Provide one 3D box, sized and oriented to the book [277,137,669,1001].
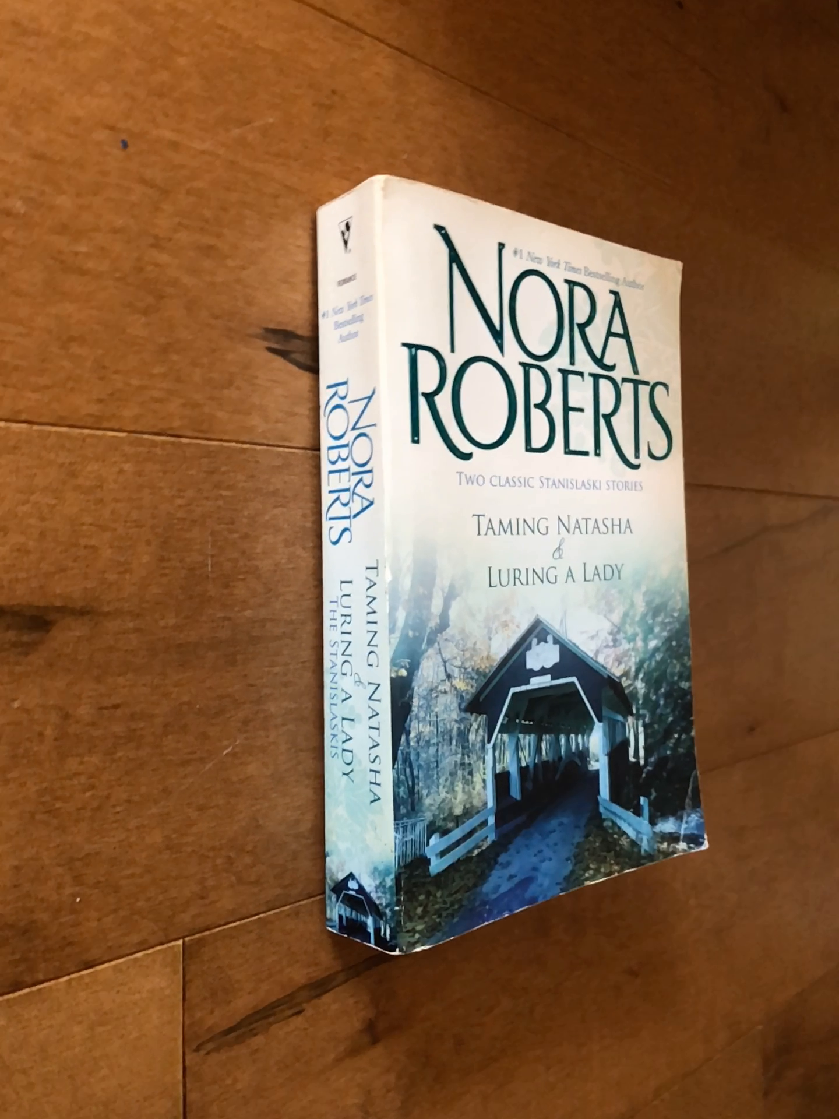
[{"bbox_3d":[0.024,0.001,0.296,0.131,0.040,0.220,-2,90,-43],"label":"book"}]
